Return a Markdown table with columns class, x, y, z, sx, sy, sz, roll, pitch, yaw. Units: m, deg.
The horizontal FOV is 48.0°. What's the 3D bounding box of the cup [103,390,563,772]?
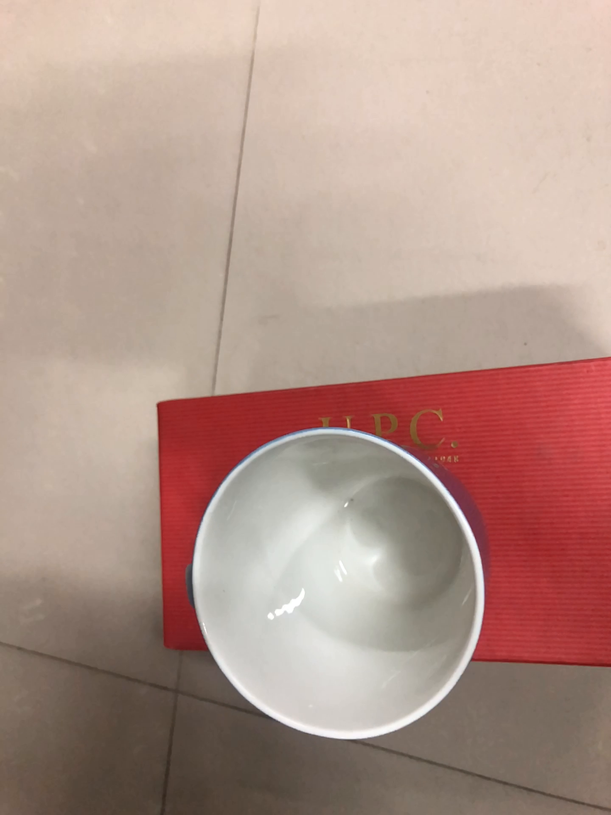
| class | x | y | z | sx | sy | sz | roll | pitch | yaw |
| --- | --- | --- | --- | --- | --- | --- | --- | --- | --- |
| cup | 0.013 | 0.051 | 0.216 | 0.110 | 0.080 | 0.080 | -16 | 81 | 19 |
